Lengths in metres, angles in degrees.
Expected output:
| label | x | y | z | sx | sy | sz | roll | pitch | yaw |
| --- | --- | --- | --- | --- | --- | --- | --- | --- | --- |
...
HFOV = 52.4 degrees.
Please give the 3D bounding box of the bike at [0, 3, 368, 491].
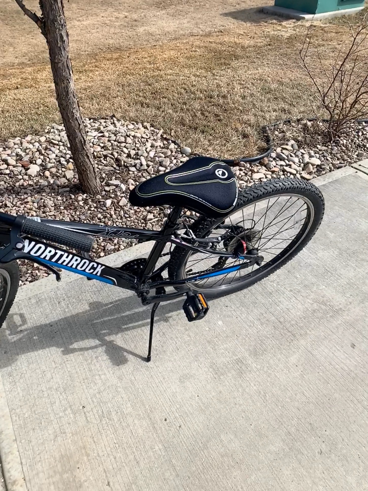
| label | x | y | z | sx | sy | sz | roll | pitch | yaw |
| --- | --- | --- | --- | --- | --- | --- | --- | --- | --- |
| bike | -0.152 | 0.121 | 0.945 | 1.391 | 0.885 | 0.516 | -25 | 46 | -17 |
